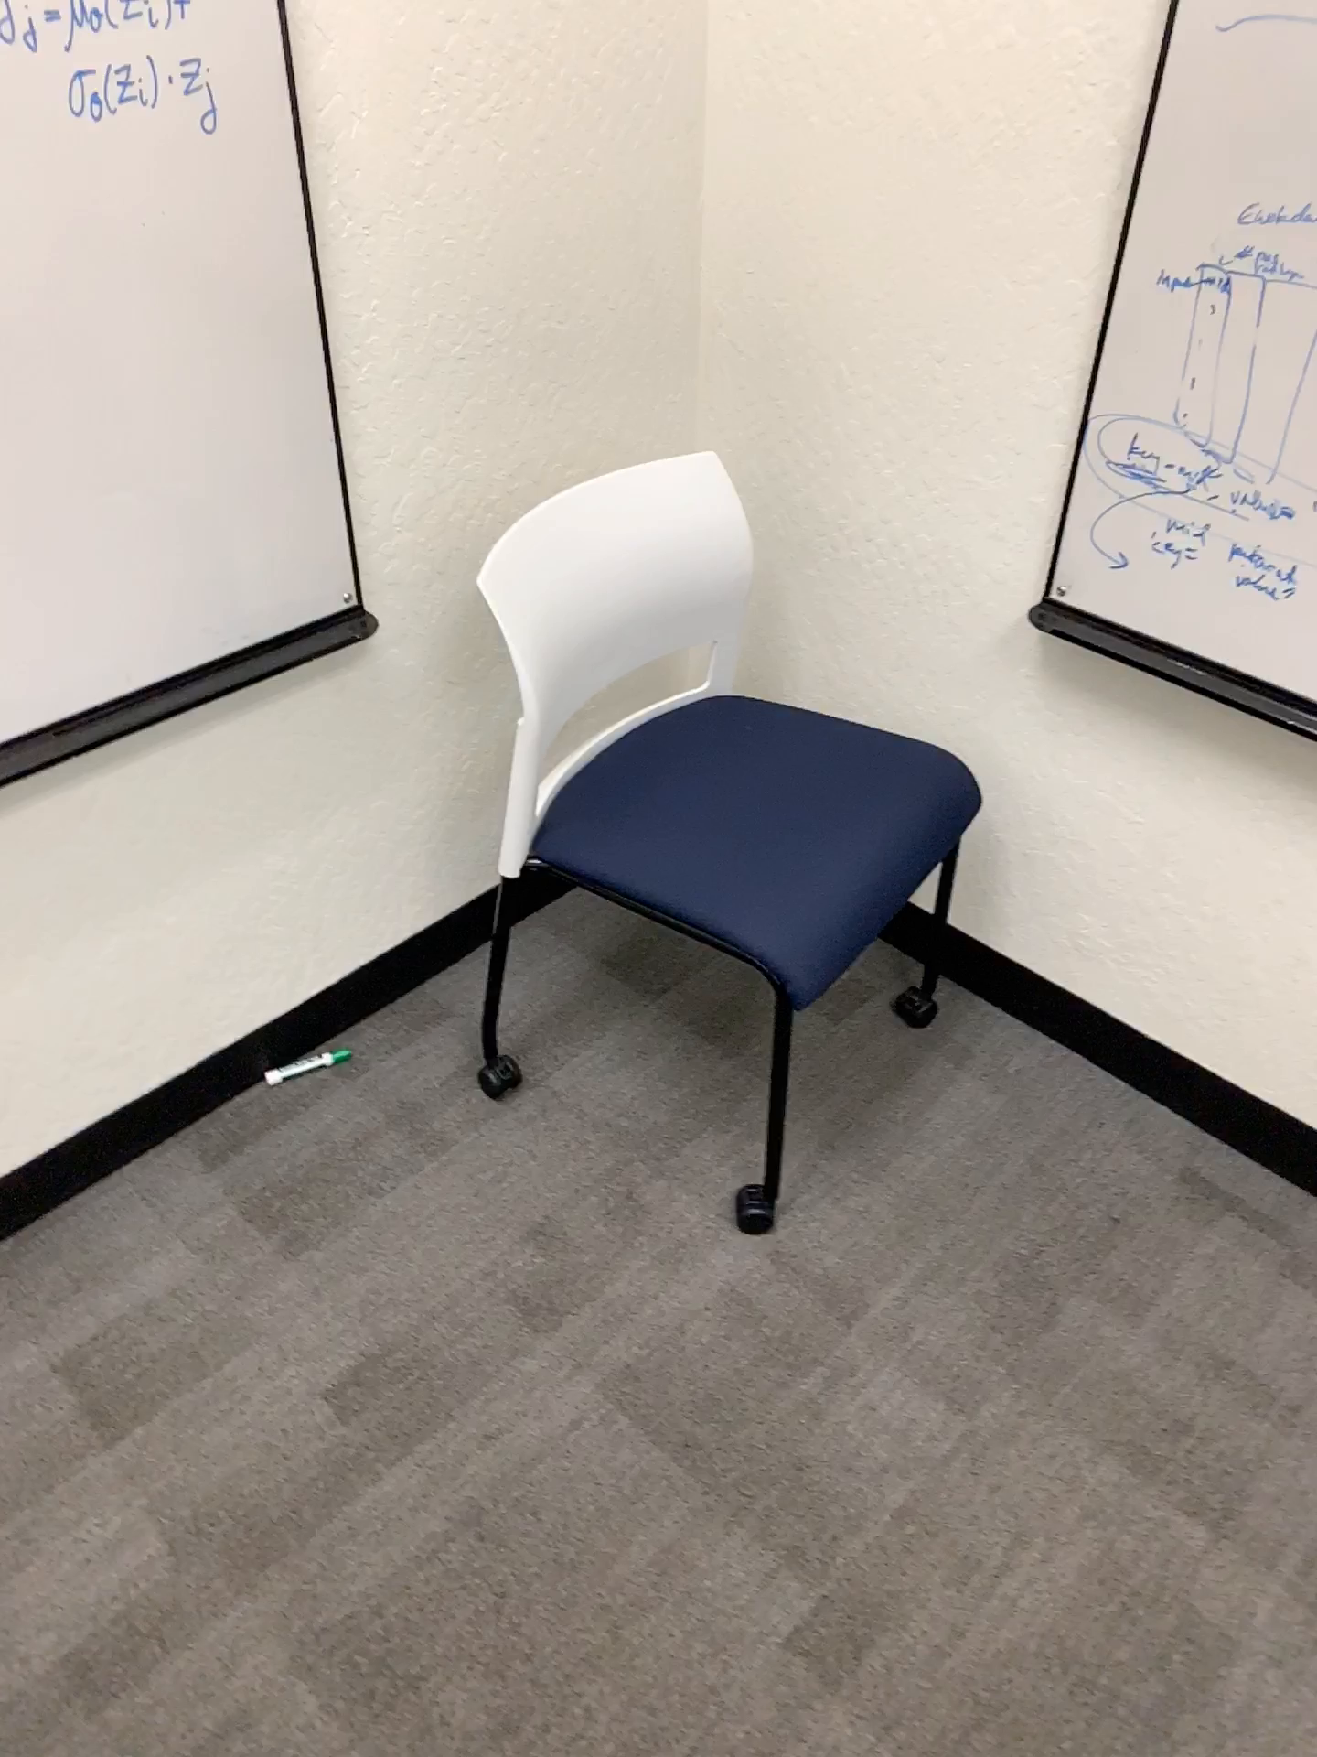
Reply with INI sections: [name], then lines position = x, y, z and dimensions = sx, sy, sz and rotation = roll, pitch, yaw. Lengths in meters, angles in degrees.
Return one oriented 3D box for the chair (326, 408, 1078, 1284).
[chair]
position = 0.069, -0.081, 1.904
dimensions = 0.642, 0.835, 0.702
rotation = 24, 44, 26
